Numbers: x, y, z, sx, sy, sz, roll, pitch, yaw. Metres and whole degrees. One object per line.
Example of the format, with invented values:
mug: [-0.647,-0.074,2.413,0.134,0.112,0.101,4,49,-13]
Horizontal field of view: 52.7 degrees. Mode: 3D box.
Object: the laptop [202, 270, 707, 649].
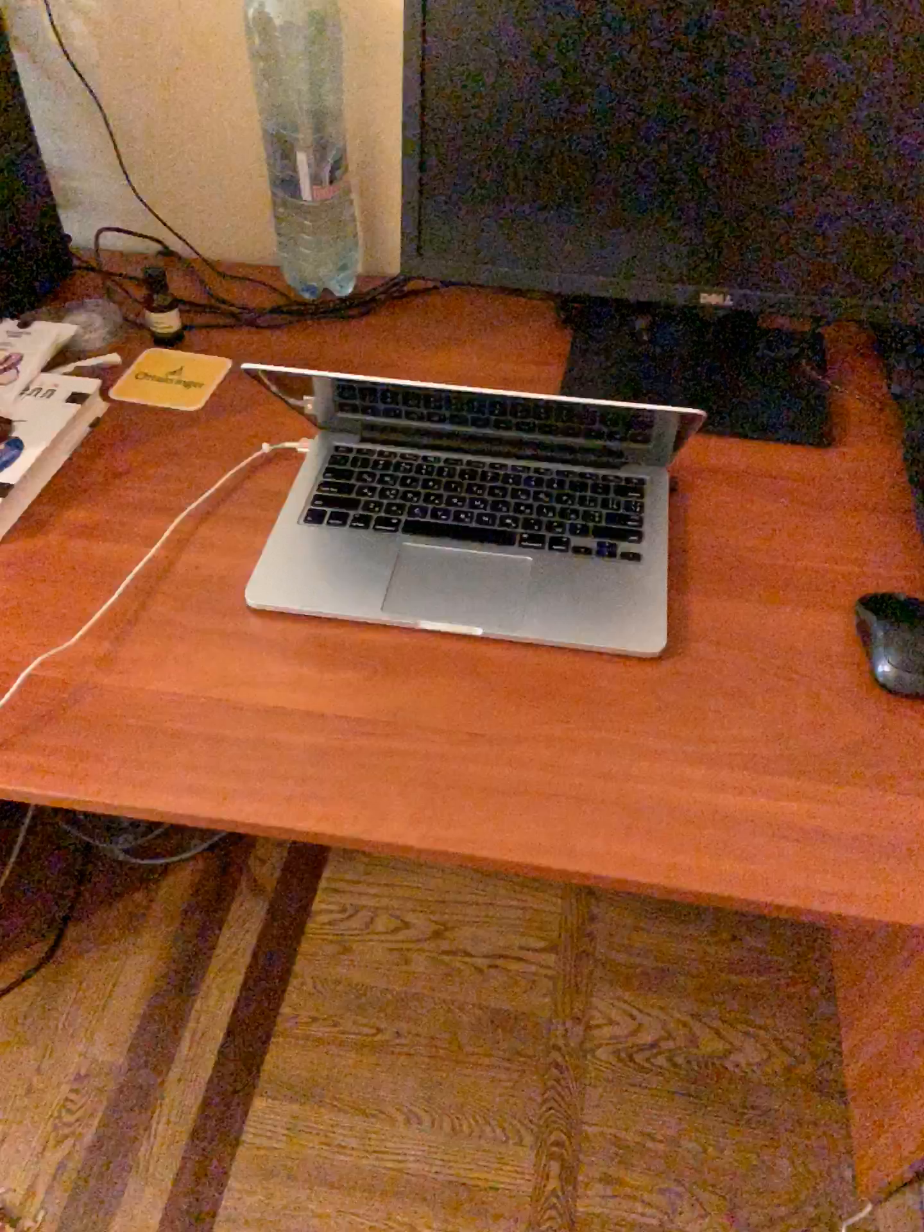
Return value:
laptop: [0.009,-0.119,0.679,0.302,0.150,0.208,7,47,5]
